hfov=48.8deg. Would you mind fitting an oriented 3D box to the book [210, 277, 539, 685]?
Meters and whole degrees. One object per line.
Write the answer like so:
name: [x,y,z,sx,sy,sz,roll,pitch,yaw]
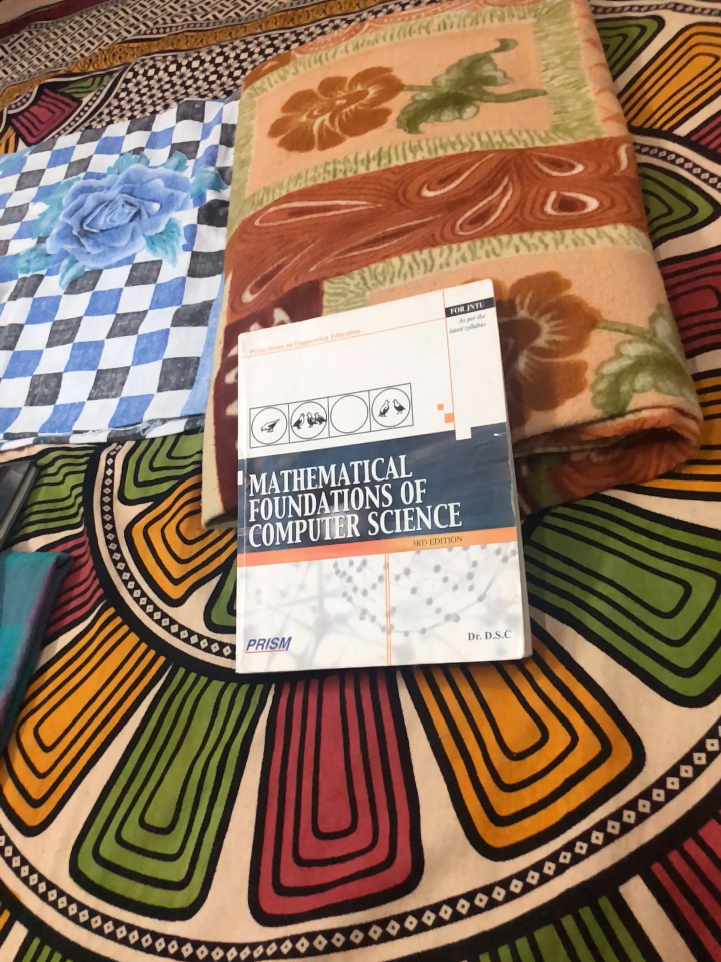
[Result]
book: [0.002,0.006,0.503,0.190,0.050,0.230,-8,75,18]
